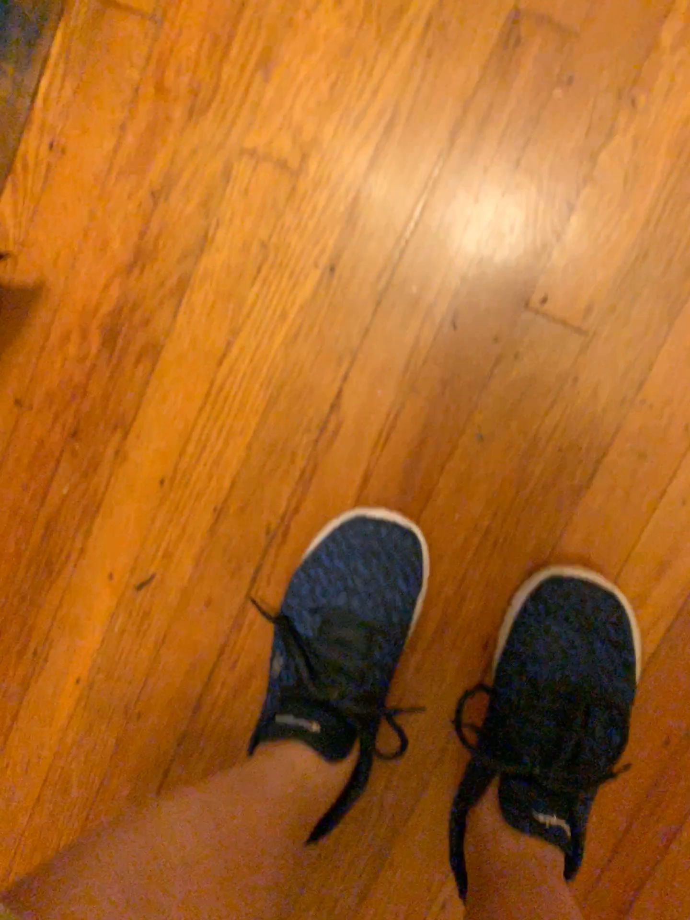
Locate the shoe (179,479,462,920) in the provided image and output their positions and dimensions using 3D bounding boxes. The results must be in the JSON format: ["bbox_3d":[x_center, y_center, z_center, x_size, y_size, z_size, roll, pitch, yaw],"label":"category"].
[{"bbox_3d":[-0.010,0.178,0.540,0.115,0.150,0.290,16,99,9],"label":"shoe"}]

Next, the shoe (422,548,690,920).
[{"bbox_3d":[0.149,0.224,0.503,0.118,0.130,0.280,14,99,10],"label":"shoe"}]
